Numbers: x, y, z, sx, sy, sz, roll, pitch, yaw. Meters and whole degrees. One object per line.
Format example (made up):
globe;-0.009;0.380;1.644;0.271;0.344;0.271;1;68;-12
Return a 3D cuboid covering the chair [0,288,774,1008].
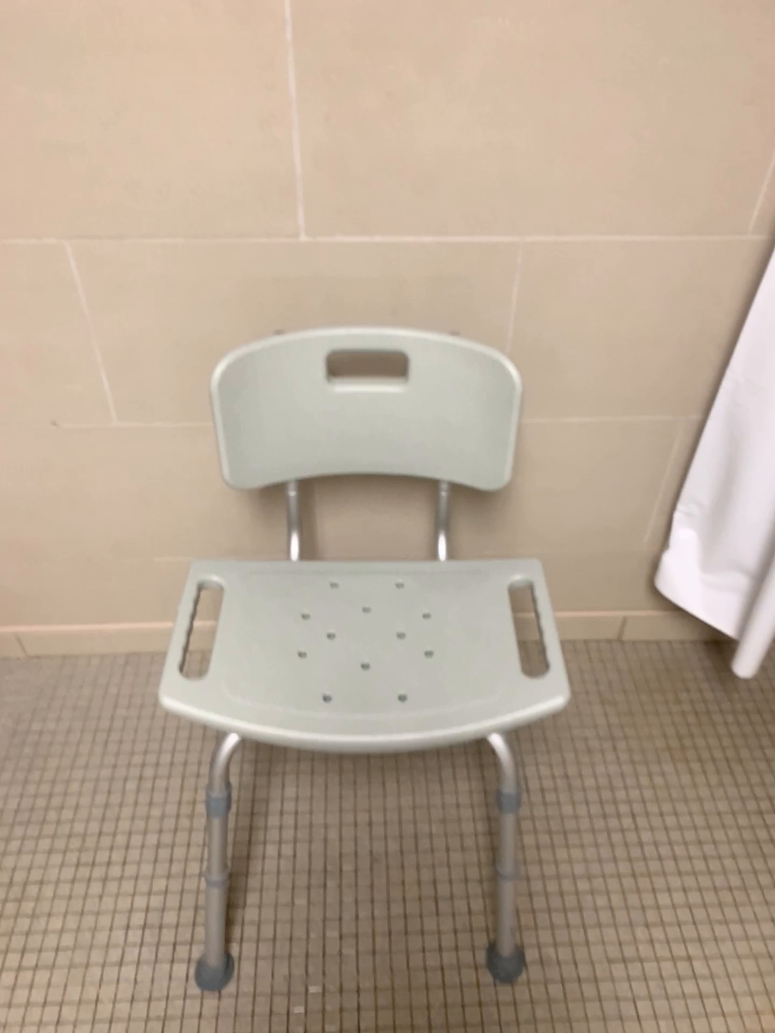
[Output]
chair;-0.007;0.201;0.972;0.549;0.746;0.523;-2;46;0
